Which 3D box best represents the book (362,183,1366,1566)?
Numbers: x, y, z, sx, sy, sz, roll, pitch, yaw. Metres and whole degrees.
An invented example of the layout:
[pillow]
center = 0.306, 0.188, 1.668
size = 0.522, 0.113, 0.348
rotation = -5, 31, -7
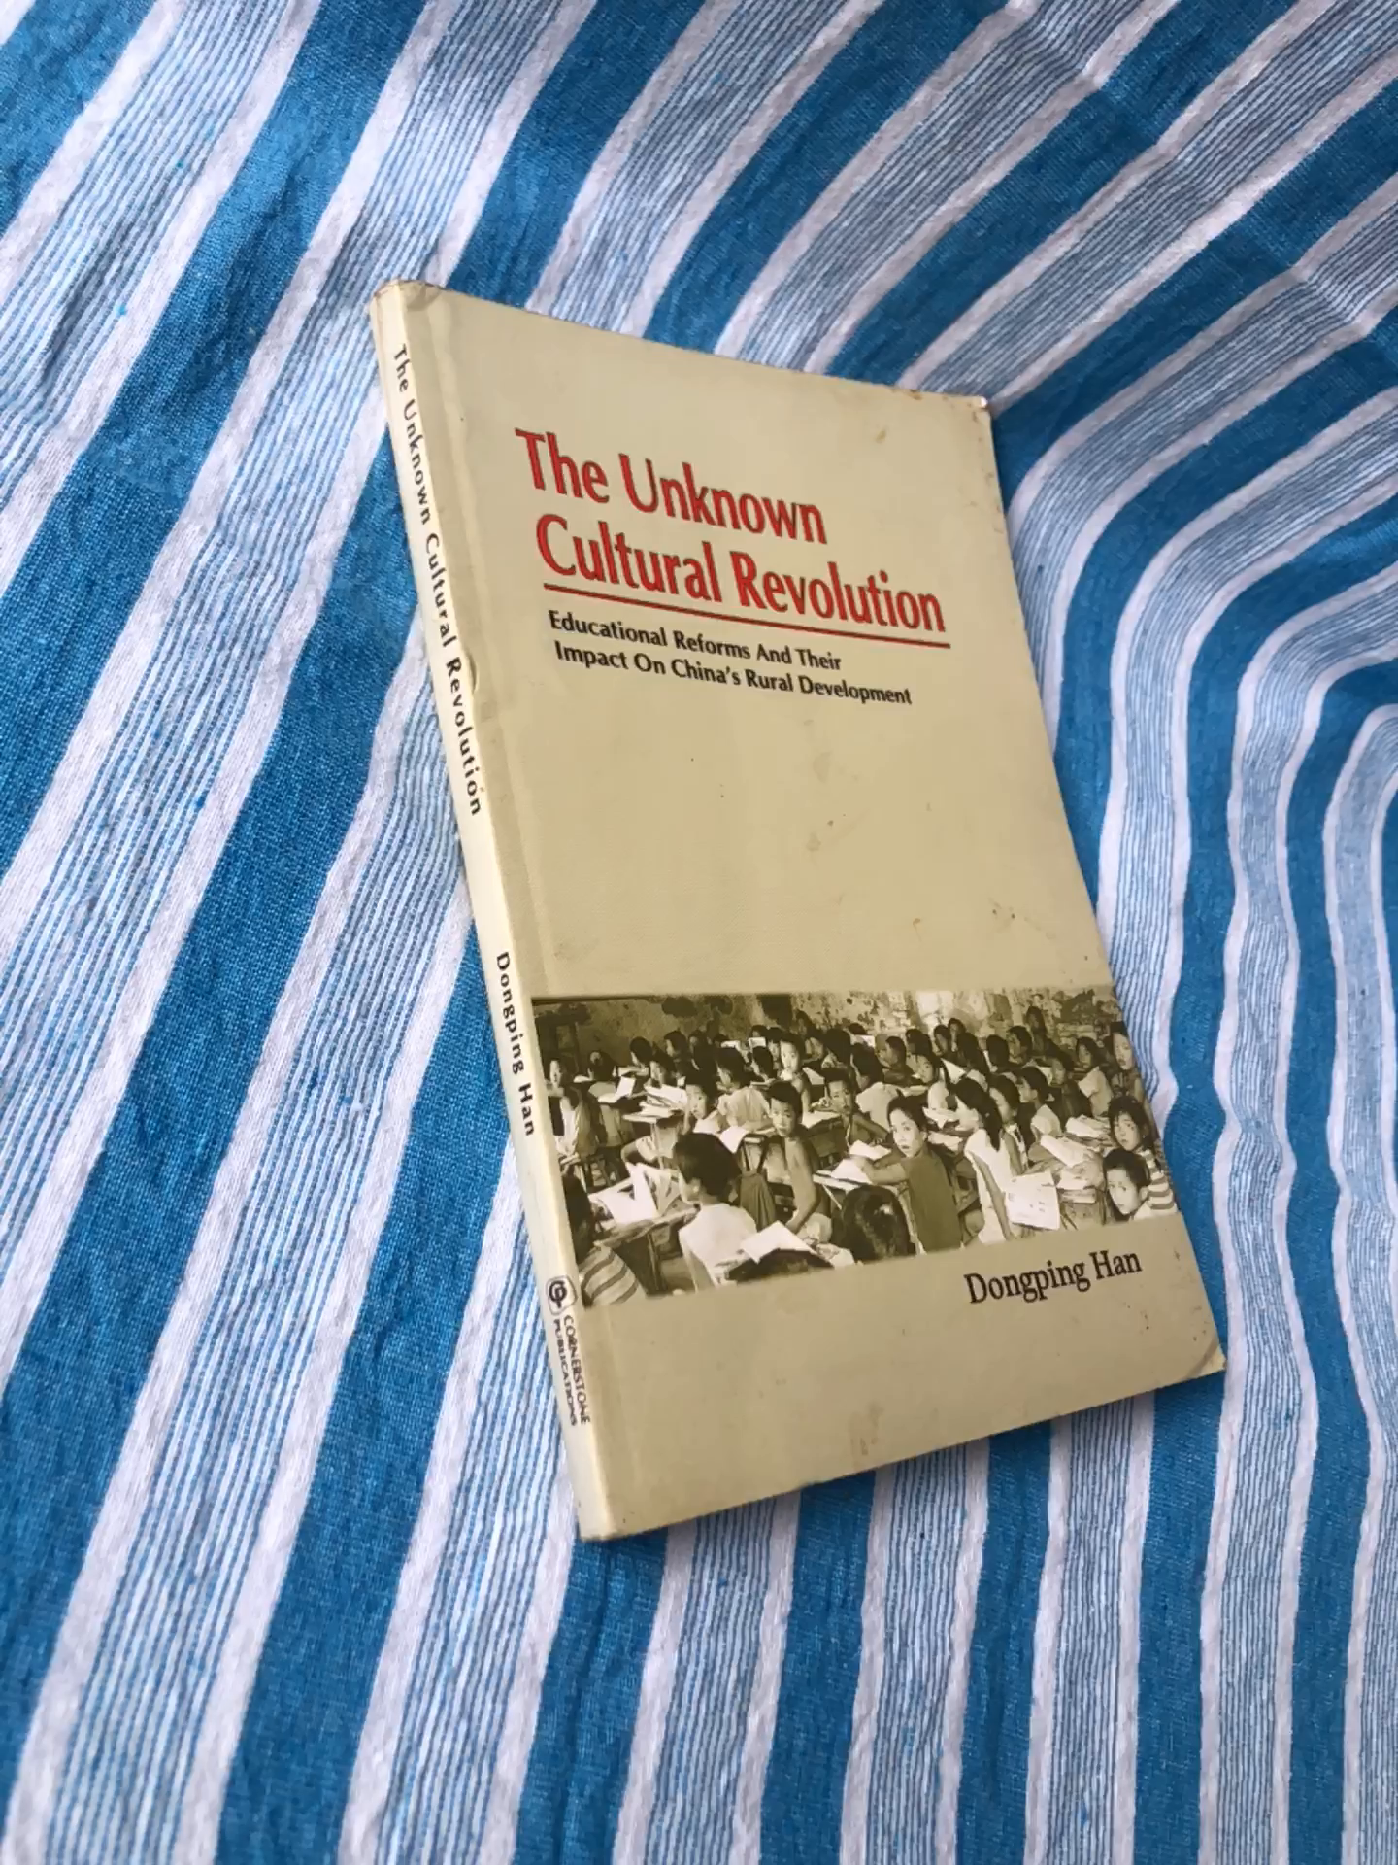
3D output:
[book]
center = 0.026, -0.024, 0.280
size = 0.141, 0.020, 0.230
rotation = -2, 69, -29
